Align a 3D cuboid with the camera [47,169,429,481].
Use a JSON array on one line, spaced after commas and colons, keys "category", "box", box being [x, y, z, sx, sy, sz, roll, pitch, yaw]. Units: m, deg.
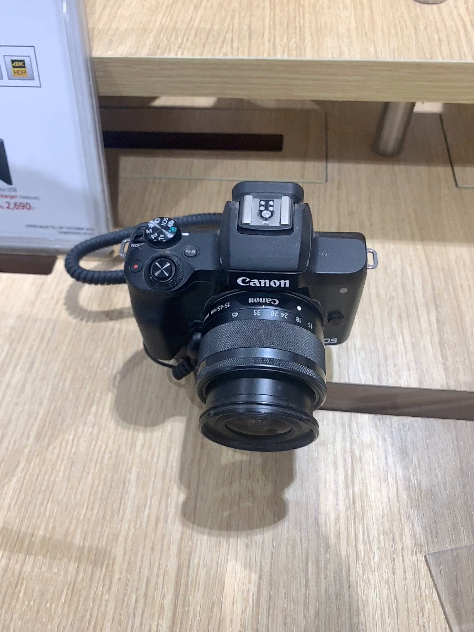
[{"category": "camera", "box": [0.004, 0.007, 0.224, 0.120, 0.100, 0.100, 1, 56, 4]}]
